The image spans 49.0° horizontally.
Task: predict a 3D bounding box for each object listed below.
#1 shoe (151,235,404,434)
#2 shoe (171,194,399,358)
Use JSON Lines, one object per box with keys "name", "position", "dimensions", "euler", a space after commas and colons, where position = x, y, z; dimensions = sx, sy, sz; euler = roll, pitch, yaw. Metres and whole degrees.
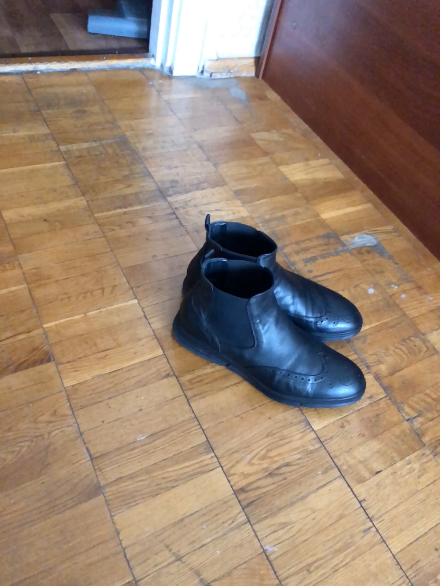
{"name": "shoe", "position": [0.072, 0.058, 0.660], "dimensions": [0.300, 0.139, 0.111], "euler": [21, 49, 4]}
{"name": "shoe", "position": [0.092, -0.023, 0.735], "dimensions": [0.300, 0.139, 0.111], "euler": [15, 49, -2]}
